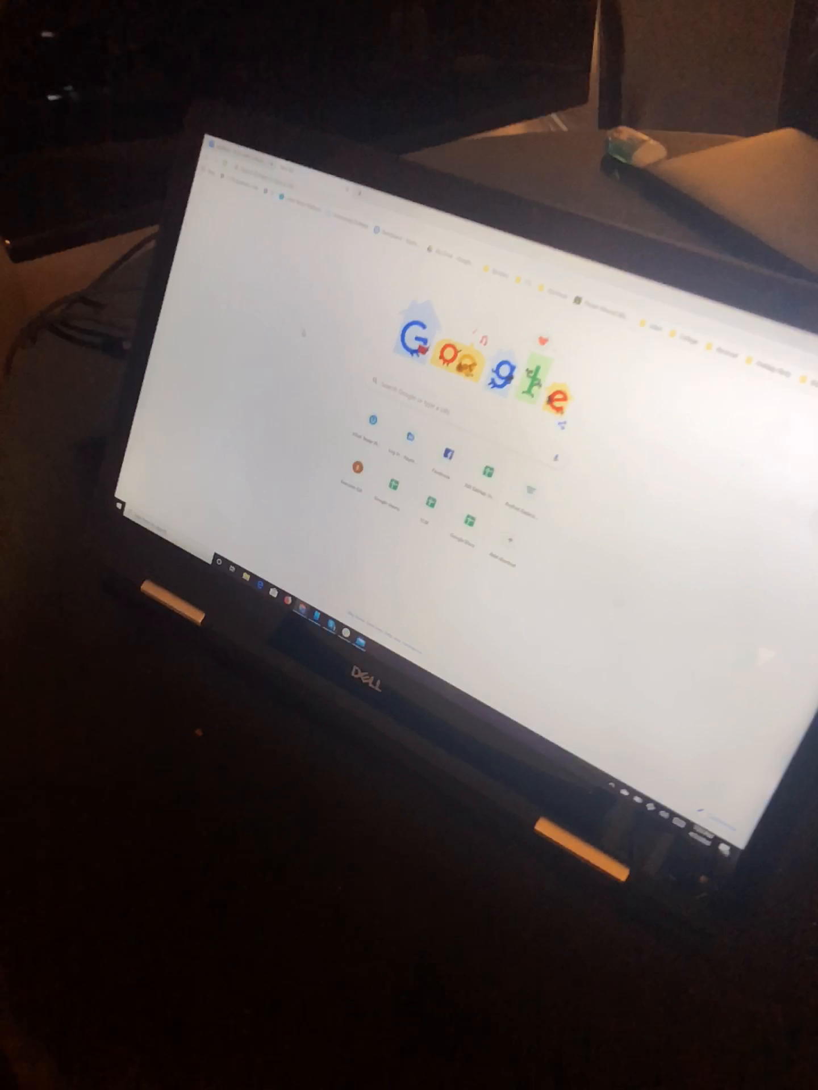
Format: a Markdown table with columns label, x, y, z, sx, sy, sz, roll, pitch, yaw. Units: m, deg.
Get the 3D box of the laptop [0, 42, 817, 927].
| label | x | y | z | sx | sy | sz | roll | pitch | yaw |
| --- | --- | --- | --- | --- | --- | --- | --- | --- | --- |
| laptop | 0.051 | -0.069 | 0.487 | 0.419 | 0.232 | 0.268 | 27 | 51 | 23 |
